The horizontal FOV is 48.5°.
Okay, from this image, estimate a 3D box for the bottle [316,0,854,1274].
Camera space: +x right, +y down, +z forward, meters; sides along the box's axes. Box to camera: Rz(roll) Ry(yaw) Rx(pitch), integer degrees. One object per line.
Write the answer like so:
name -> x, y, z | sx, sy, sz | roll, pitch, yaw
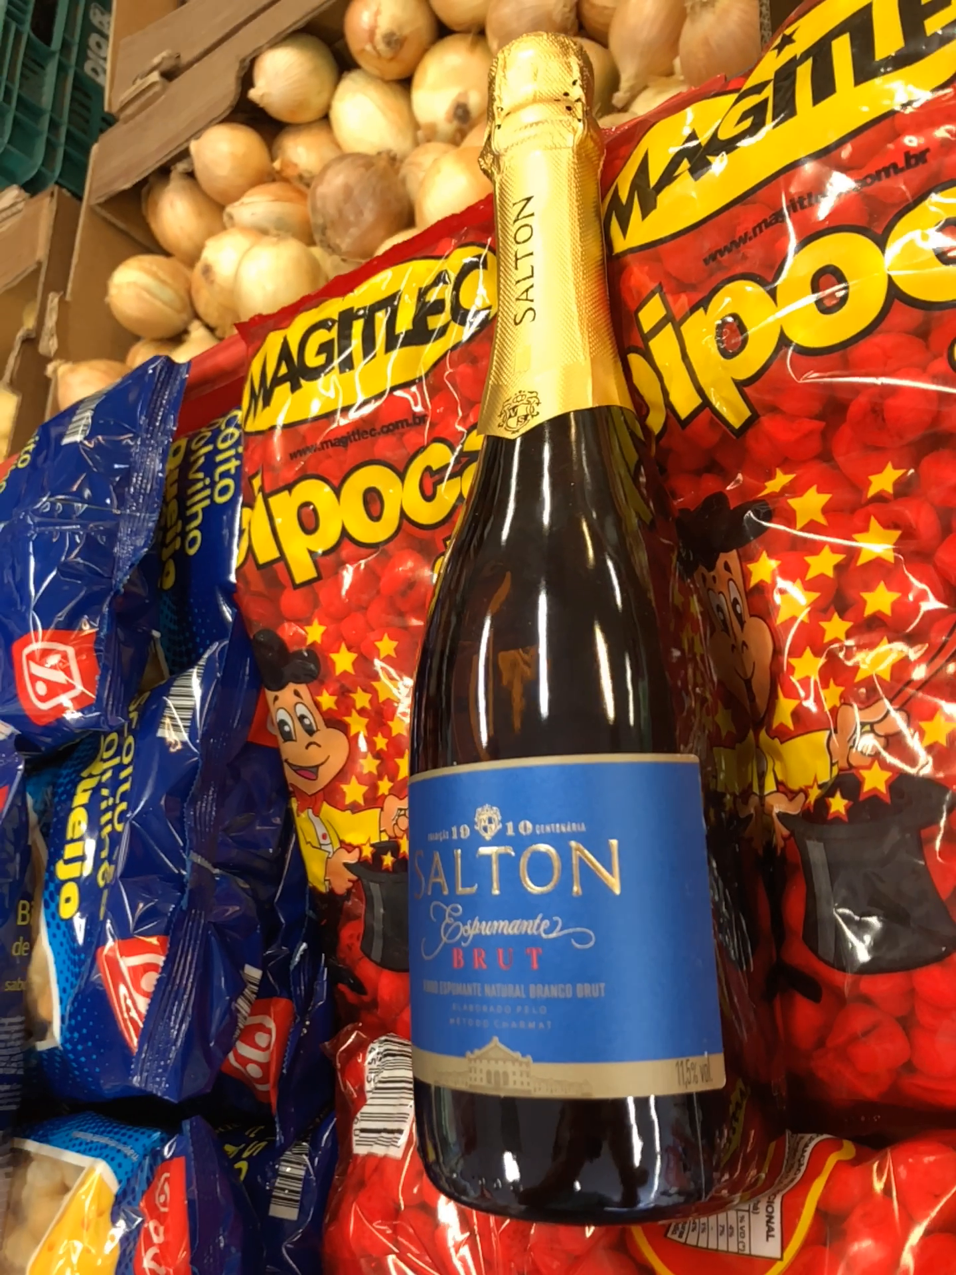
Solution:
bottle -> 0.022, -0.022, 0.269 | 0.090, 0.080, 0.310 | -9, 78, 36
